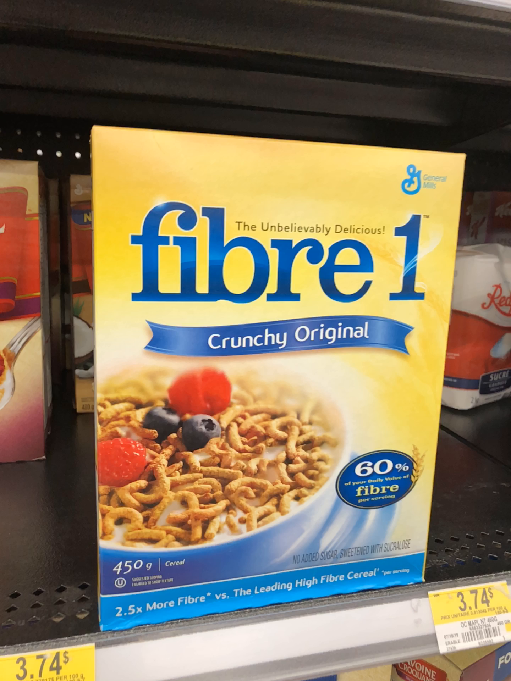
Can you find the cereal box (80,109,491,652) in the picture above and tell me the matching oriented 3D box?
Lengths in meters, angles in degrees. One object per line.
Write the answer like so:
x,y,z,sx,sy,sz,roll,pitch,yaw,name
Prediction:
0.010,0.022,0.316,0.200,0.259,0.060,-1,12,-15,cereal box
